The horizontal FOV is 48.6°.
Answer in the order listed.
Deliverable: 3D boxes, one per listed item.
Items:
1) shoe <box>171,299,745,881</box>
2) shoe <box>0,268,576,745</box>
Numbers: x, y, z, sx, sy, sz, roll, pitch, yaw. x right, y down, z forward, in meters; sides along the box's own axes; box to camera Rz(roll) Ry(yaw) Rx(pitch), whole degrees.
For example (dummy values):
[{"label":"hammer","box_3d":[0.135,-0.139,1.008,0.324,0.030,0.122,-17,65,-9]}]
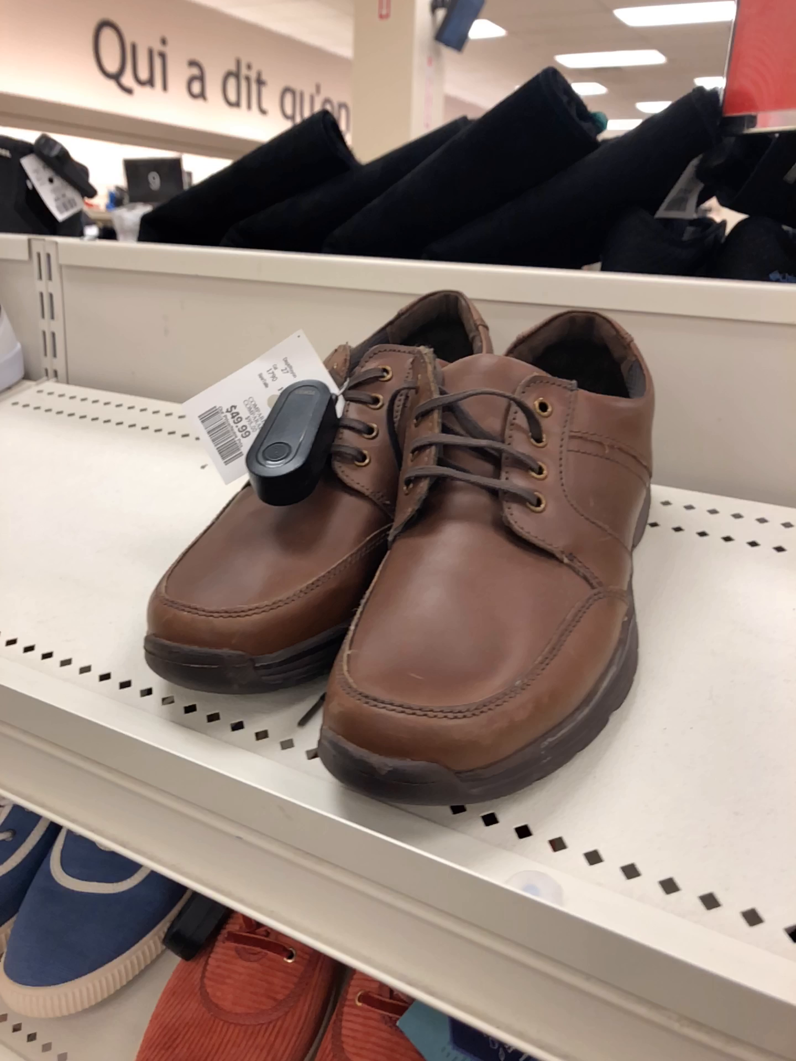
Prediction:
[{"label":"shoe","box_3d":[0.063,-0.022,0.390,0.120,0.109,0.342,11,24,24]},{"label":"shoe","box_3d":[-0.024,-0.049,0.442,0.120,0.109,0.332,11,27,26]}]
